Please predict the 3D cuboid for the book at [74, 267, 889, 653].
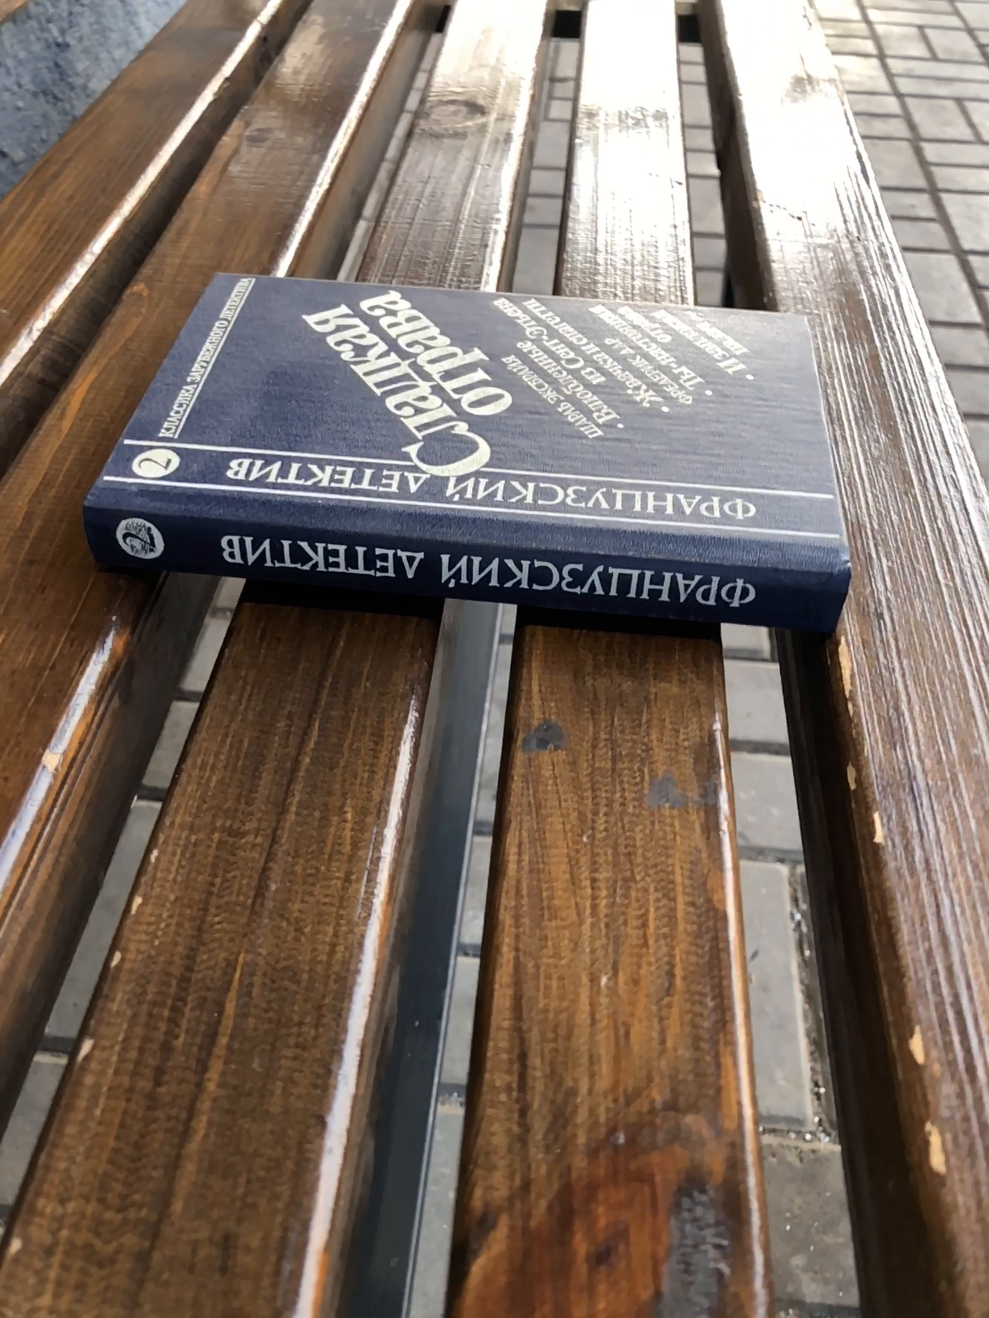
[{"bbox_3d":[0.000,-0.069,0.341,0.211,0.030,0.133,5,46,2],"label":"book"}]
